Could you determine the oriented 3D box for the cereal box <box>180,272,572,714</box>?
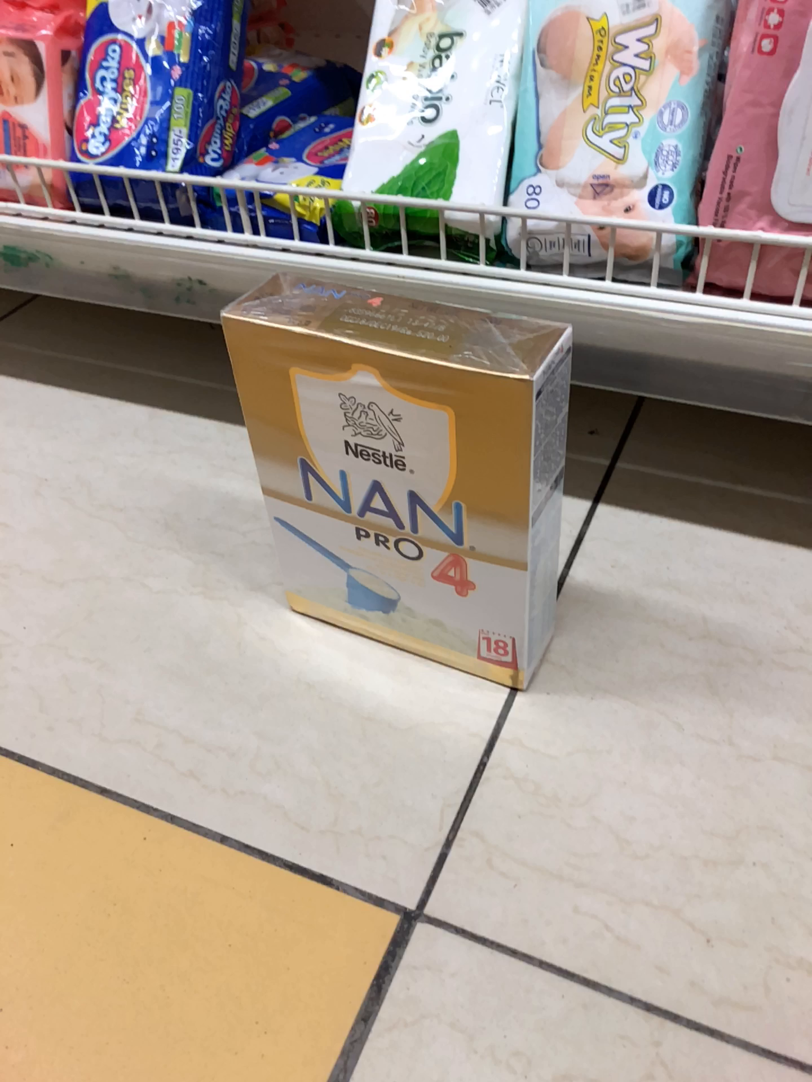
[{"bbox_3d":[-0.010,-0.019,0.438,0.160,0.189,0.050,16,45,22],"label":"cereal box"}]
